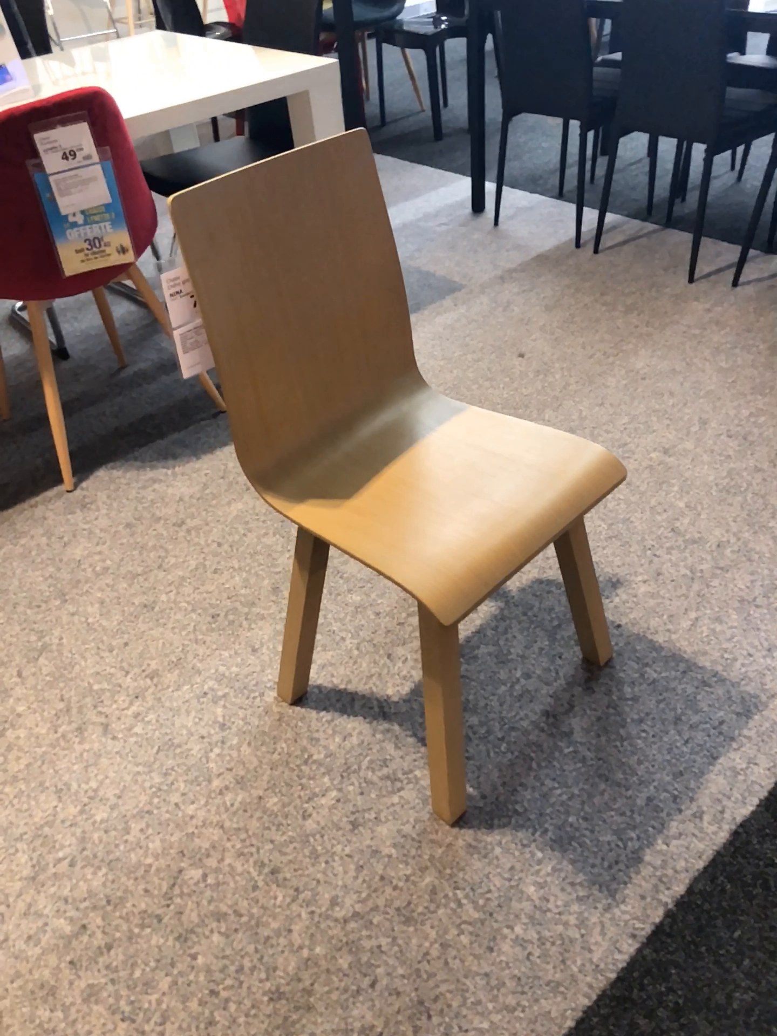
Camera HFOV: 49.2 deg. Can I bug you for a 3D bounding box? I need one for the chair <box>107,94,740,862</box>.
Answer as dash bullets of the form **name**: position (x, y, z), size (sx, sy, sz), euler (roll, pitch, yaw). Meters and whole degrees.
- **chair**: position (0.072, -0.067, 1.213), size (0.490, 0.835, 0.523), euler (27, 49, 34)
